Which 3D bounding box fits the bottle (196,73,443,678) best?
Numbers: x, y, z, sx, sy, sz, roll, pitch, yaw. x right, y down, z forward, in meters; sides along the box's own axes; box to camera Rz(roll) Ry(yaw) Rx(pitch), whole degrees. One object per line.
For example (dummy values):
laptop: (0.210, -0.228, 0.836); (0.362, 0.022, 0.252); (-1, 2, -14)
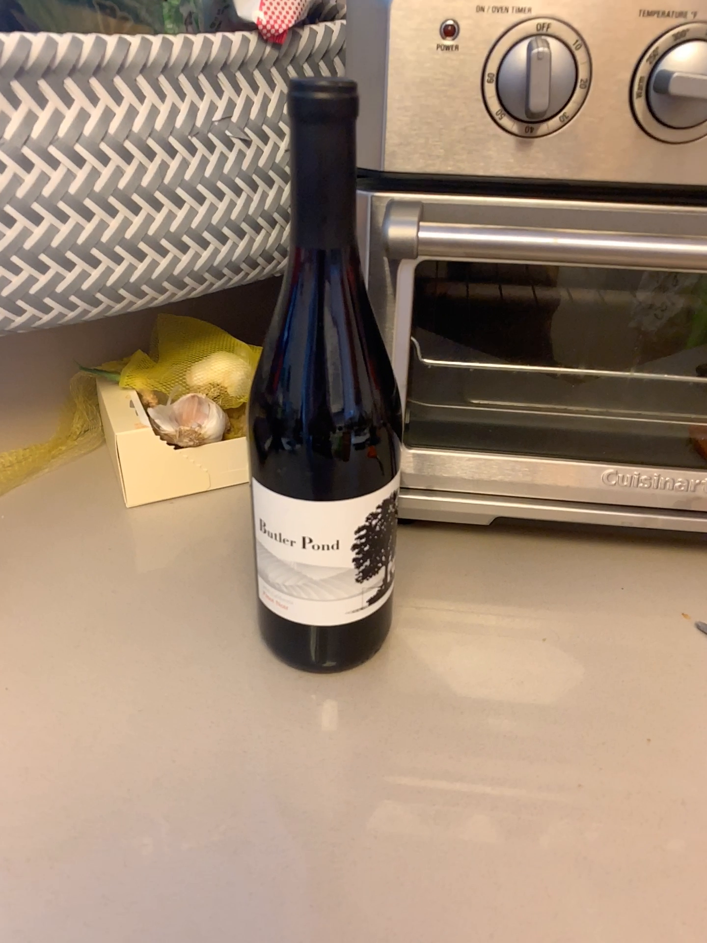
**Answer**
bottle: (-0.014, -0.028, 0.334); (0.080, 0.268, 0.070); (0, 31, -2)
